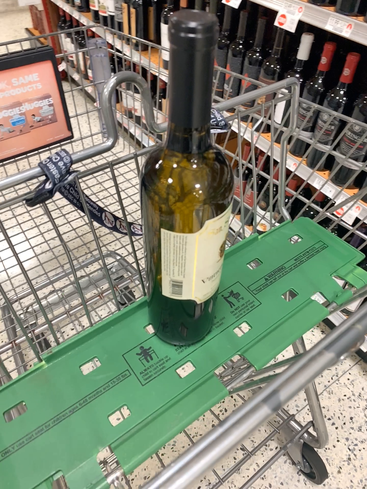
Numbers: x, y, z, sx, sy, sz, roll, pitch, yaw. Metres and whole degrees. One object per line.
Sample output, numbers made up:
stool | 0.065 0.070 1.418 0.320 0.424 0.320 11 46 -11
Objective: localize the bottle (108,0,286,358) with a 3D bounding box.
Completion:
bottle | 0.008 -0.026 0.314 0.070 0.307 0.081 19 49 16
